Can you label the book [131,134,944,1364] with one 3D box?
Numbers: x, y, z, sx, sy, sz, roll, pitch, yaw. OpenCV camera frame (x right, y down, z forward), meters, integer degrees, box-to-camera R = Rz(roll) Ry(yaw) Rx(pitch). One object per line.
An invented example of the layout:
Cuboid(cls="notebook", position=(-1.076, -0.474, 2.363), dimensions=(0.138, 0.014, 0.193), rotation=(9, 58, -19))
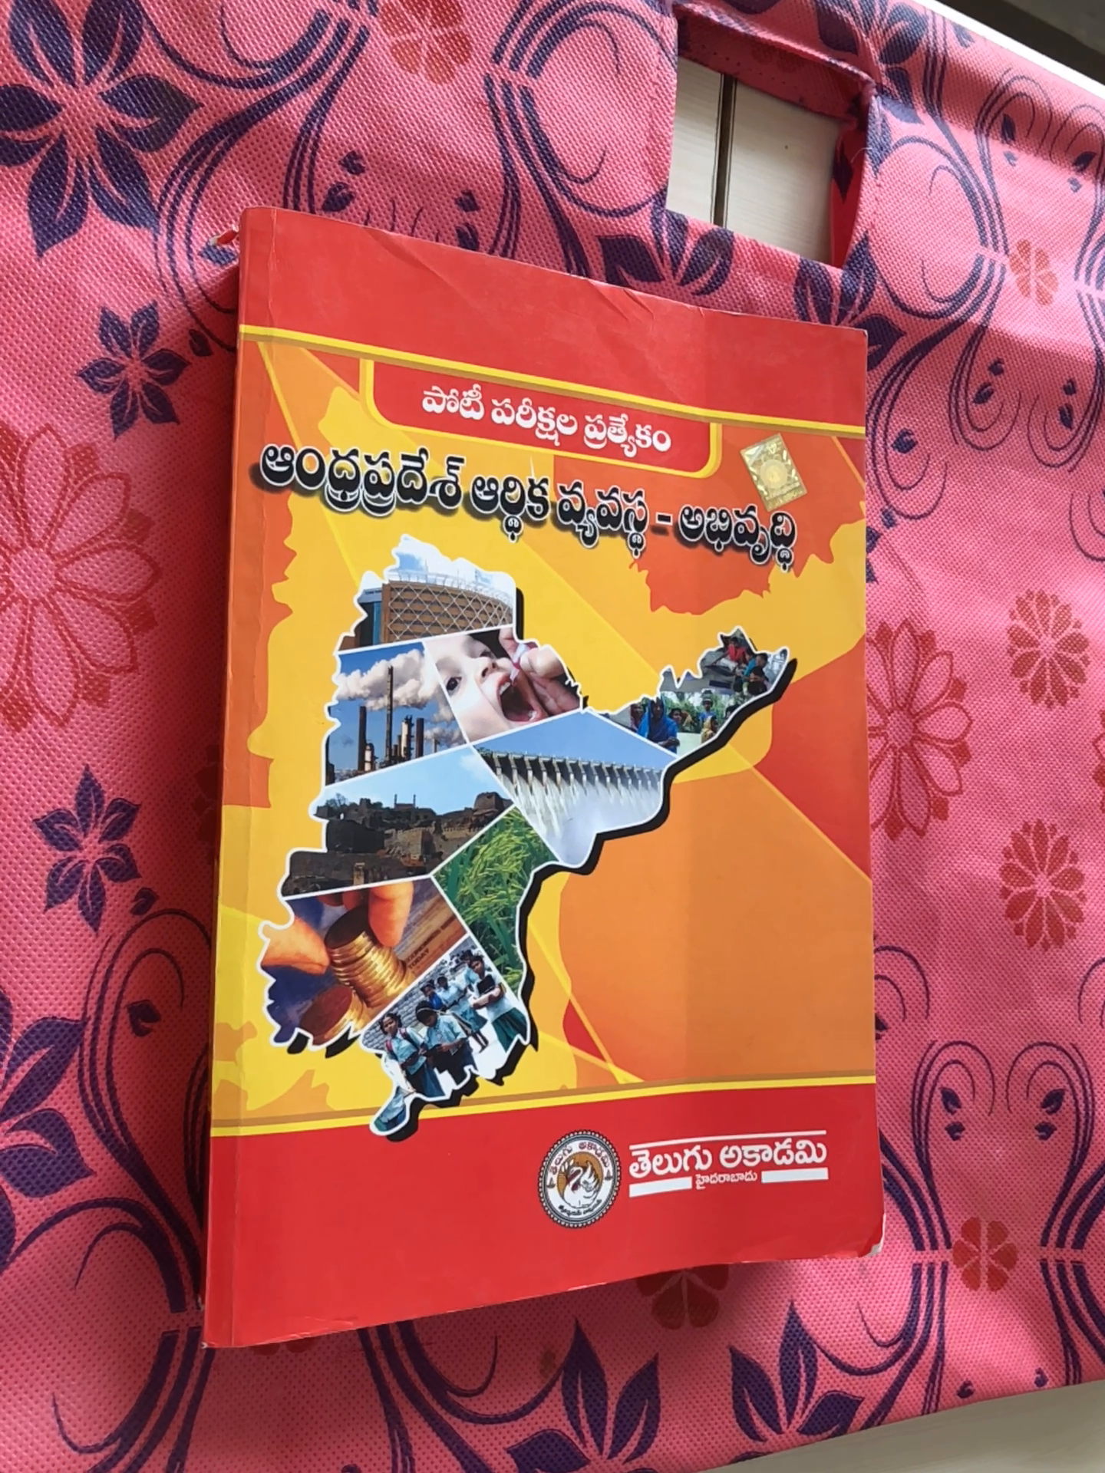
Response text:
Cuboid(cls="book", position=(0.003, 0.006, 0.329), dimensions=(0.200, 0.060, 0.260), rotation=(4, 87, -26))
